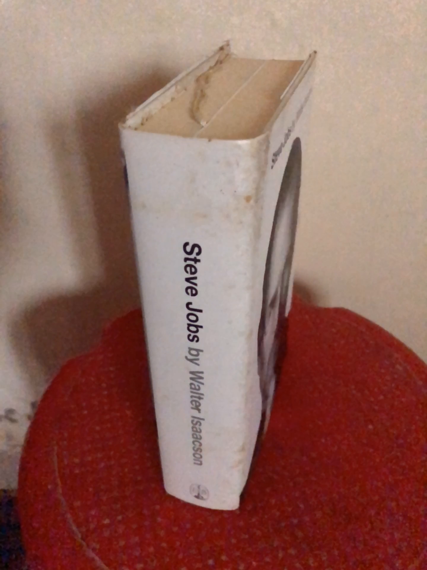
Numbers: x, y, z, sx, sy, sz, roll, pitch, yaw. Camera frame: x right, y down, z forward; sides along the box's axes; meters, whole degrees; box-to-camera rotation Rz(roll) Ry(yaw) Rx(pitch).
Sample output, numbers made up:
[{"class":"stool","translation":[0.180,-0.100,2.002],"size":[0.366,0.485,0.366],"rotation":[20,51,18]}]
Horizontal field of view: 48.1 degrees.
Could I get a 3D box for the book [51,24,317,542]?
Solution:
[{"class":"book","translation":[0.006,-0.005,0.269],"size":[0.060,0.229,0.171],"rotation":[9,37,14]}]
